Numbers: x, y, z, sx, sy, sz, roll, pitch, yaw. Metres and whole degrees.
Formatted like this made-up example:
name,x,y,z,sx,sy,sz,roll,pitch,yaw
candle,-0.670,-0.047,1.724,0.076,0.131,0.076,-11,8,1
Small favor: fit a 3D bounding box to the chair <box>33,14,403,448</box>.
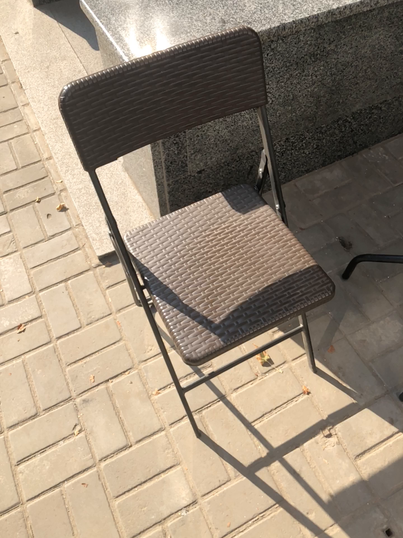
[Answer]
name,x,y,z,sx,sy,sz,roll,pitch,yaw
chair,0.031,-0.026,1.013,0.450,0.748,0.511,-25,59,-15
